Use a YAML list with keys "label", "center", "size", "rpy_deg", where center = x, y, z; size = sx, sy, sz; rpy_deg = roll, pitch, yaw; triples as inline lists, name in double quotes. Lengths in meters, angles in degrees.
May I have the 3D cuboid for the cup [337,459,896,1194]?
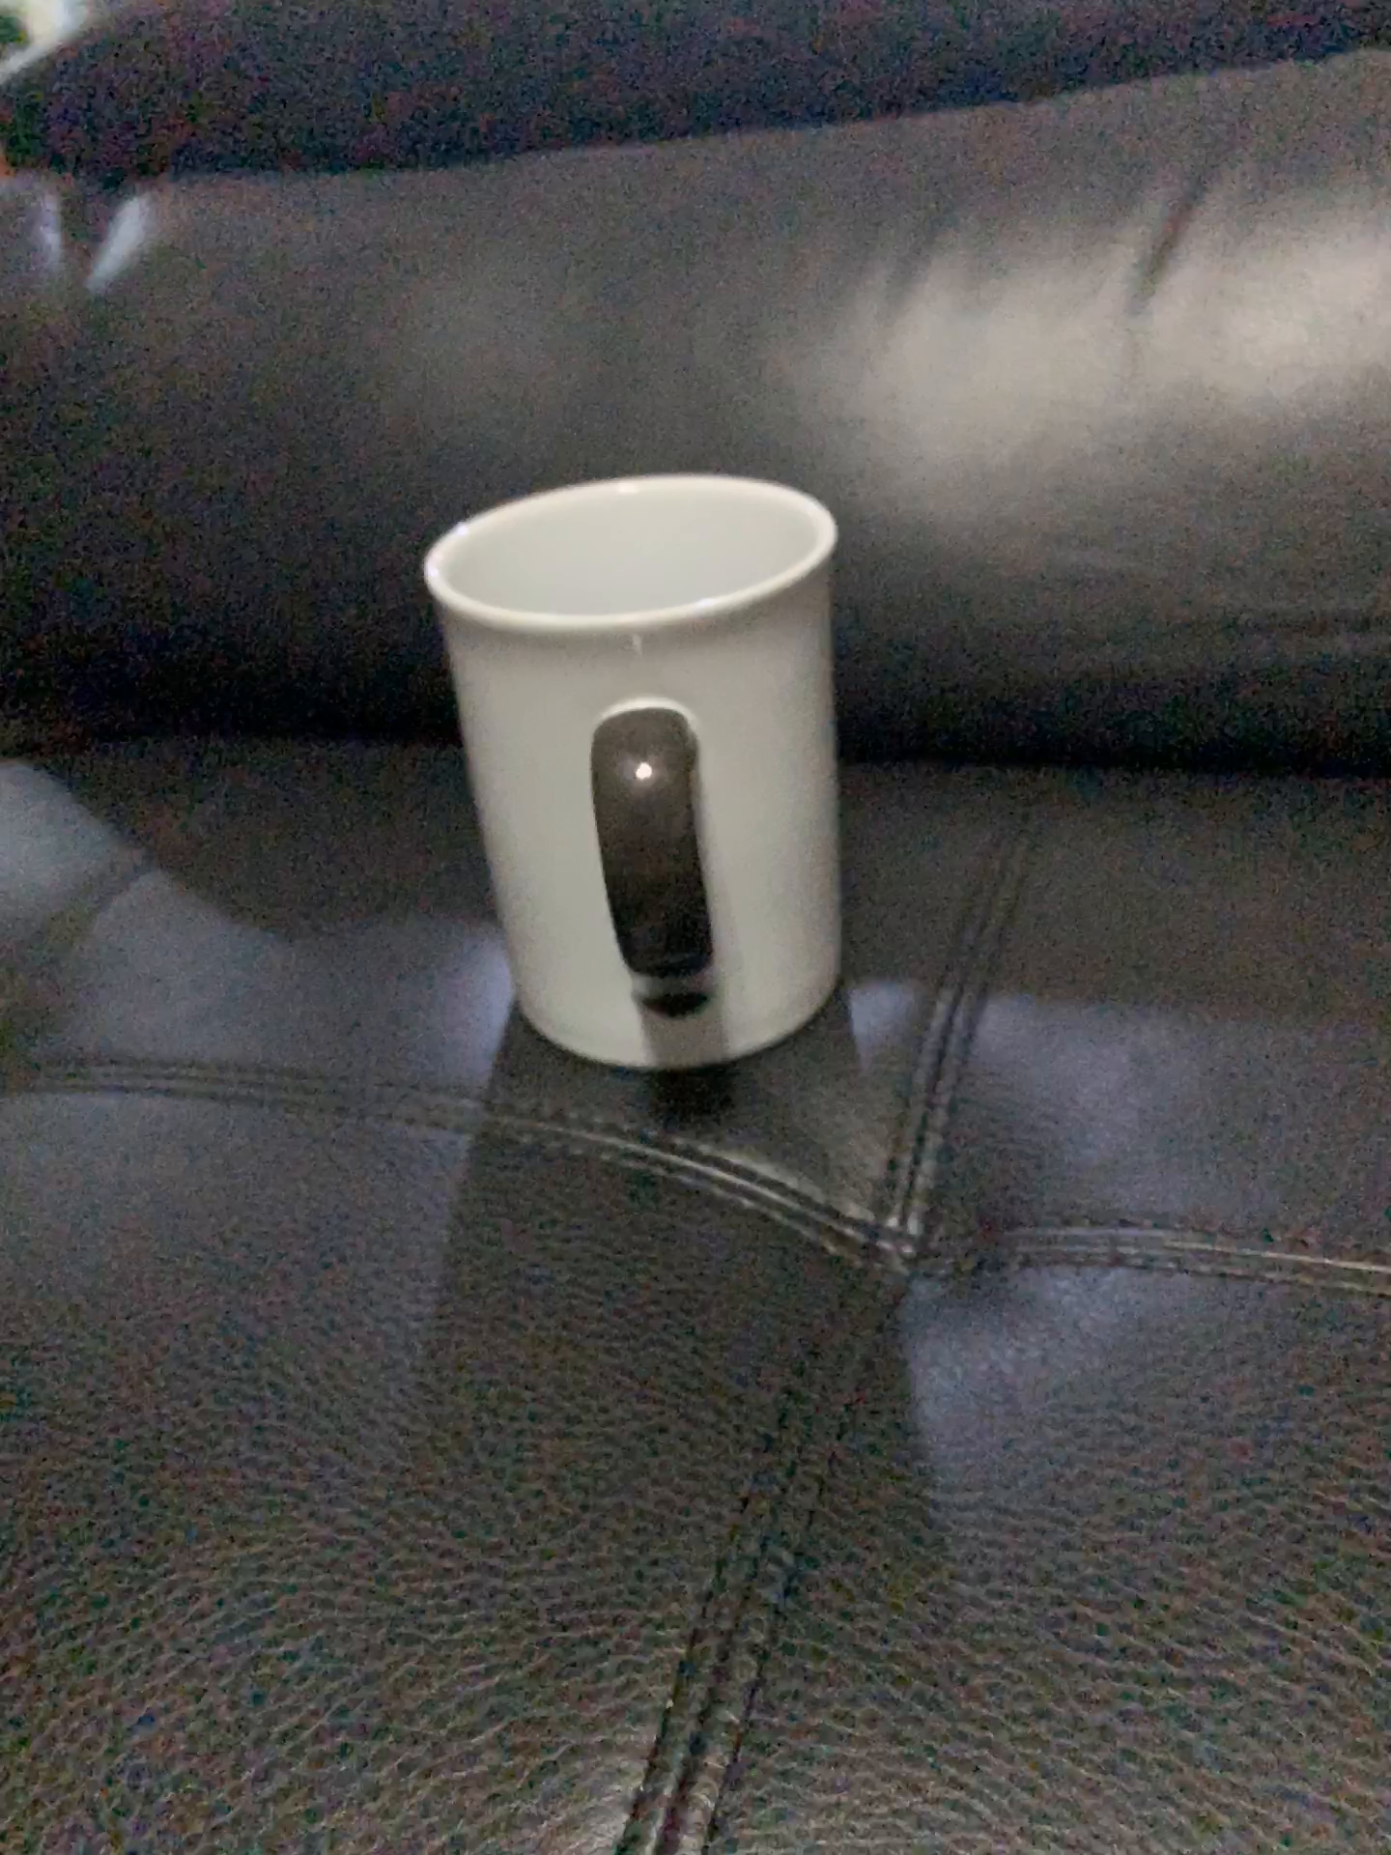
- label: "cup"
  center: [-0.010, -0.029, 0.327]
  size: [0.092, 0.115, 0.124]
  rpy_deg: [-5, 29, 2]
